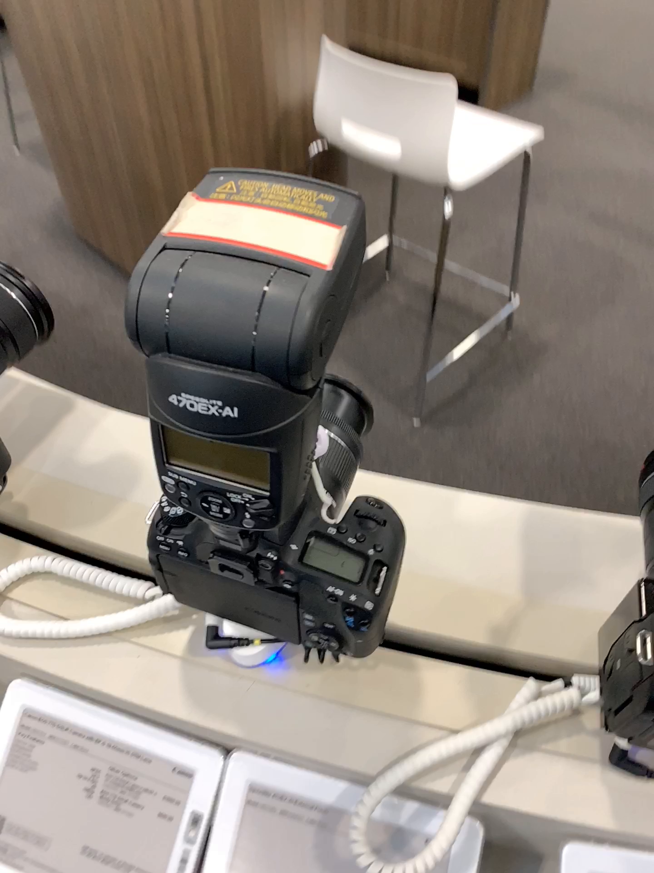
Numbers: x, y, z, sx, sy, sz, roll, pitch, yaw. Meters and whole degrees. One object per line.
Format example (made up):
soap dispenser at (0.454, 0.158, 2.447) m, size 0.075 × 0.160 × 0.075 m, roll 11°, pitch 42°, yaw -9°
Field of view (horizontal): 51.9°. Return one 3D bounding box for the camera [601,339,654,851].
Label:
camera at (0.221, 0.063, 0.323) m, size 0.140 × 0.100 × 0.191 m, roll 10°, pitch 50°, yaw 10°

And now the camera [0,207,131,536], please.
camera at (-0.265, -0.057, 0.482) m, size 0.140 × 0.100 × 0.200 m, roll 15°, pitch 51°, yaw 14°

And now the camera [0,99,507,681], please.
camera at (-0.016, -0.019, 0.352) m, size 0.150 × 0.219 × 0.170 m, roll 15°, pitch 51°, yaw 14°
